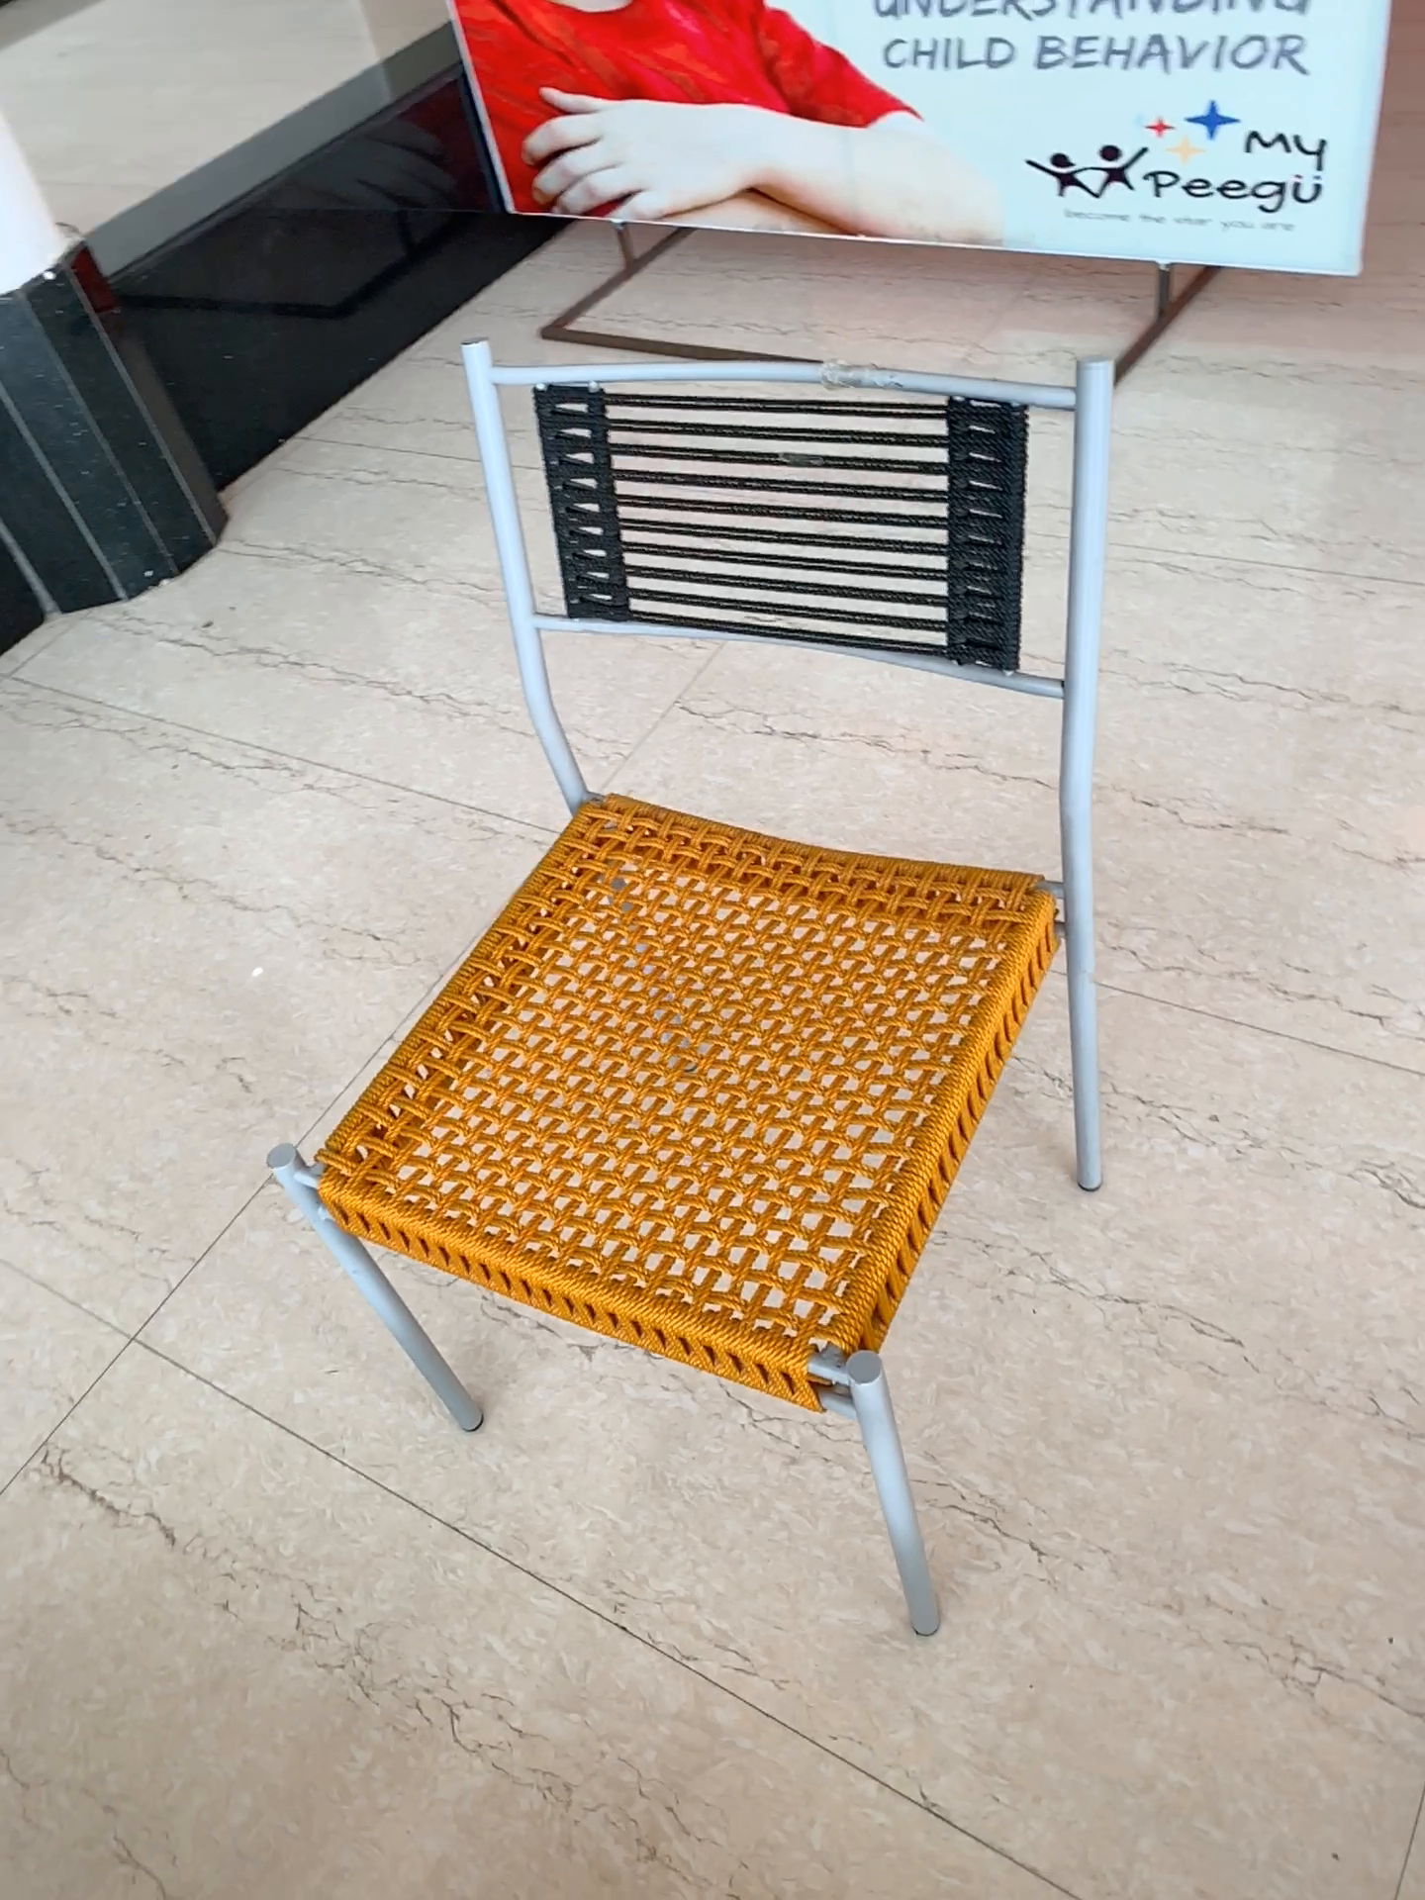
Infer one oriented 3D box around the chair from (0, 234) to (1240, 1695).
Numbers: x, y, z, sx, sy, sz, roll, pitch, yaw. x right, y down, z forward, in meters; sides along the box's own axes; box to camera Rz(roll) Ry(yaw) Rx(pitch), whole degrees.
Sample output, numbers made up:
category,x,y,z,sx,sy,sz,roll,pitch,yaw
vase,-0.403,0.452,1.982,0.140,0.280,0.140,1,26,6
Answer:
category,x,y,z,sx,sy,sz,roll,pitch,yaw
chair,0.011,0.023,1.015,0.522,0.804,0.512,14,52,27
